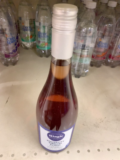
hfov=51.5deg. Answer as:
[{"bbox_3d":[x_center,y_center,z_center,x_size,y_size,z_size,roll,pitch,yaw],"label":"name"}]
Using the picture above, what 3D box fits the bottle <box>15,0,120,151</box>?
[{"bbox_3d":[-0.002,0.029,0.232,0.090,0.298,0.080,4,40,-2],"label":"bottle"}]
